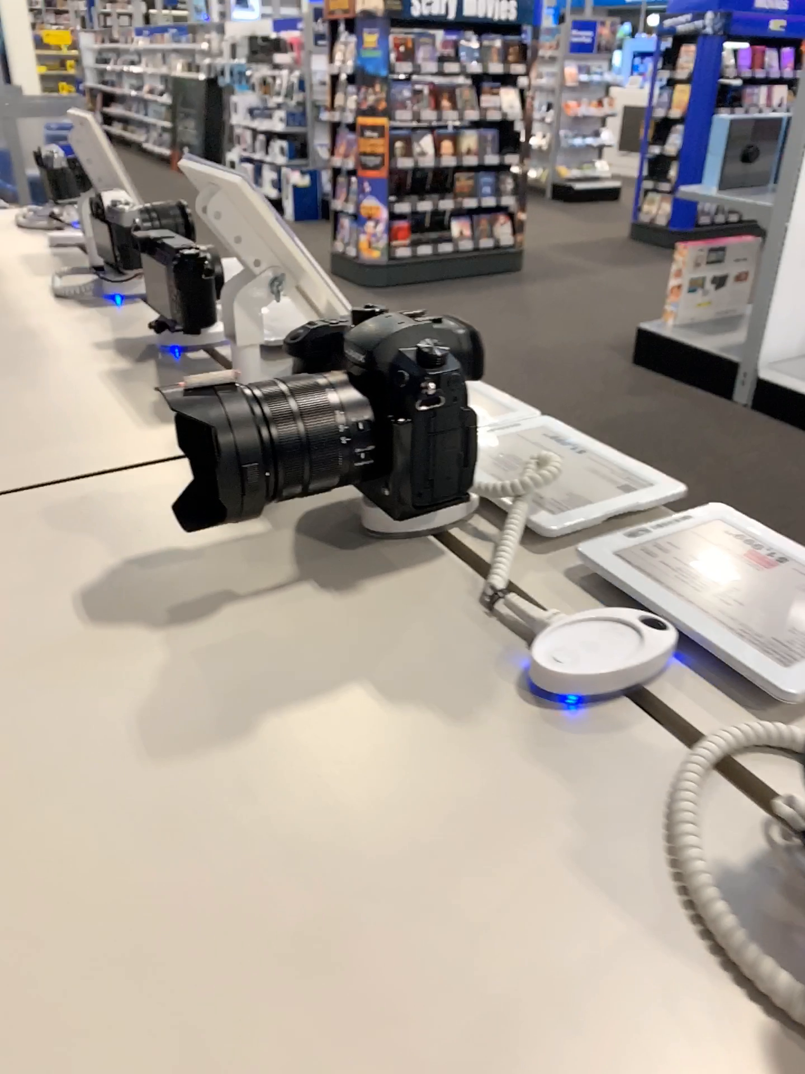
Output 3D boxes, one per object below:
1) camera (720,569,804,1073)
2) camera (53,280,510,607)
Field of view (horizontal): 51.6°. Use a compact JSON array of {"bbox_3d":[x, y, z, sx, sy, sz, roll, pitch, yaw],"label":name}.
[{"bbox_3d":[0.174,0.083,0.234,0.070,0.080,0.131,-17,35,-28],"label":"camera"},{"bbox_3d":[-0.066,-0.067,0.467,0.200,0.099,0.141,-17,35,-28],"label":"camera"}]
